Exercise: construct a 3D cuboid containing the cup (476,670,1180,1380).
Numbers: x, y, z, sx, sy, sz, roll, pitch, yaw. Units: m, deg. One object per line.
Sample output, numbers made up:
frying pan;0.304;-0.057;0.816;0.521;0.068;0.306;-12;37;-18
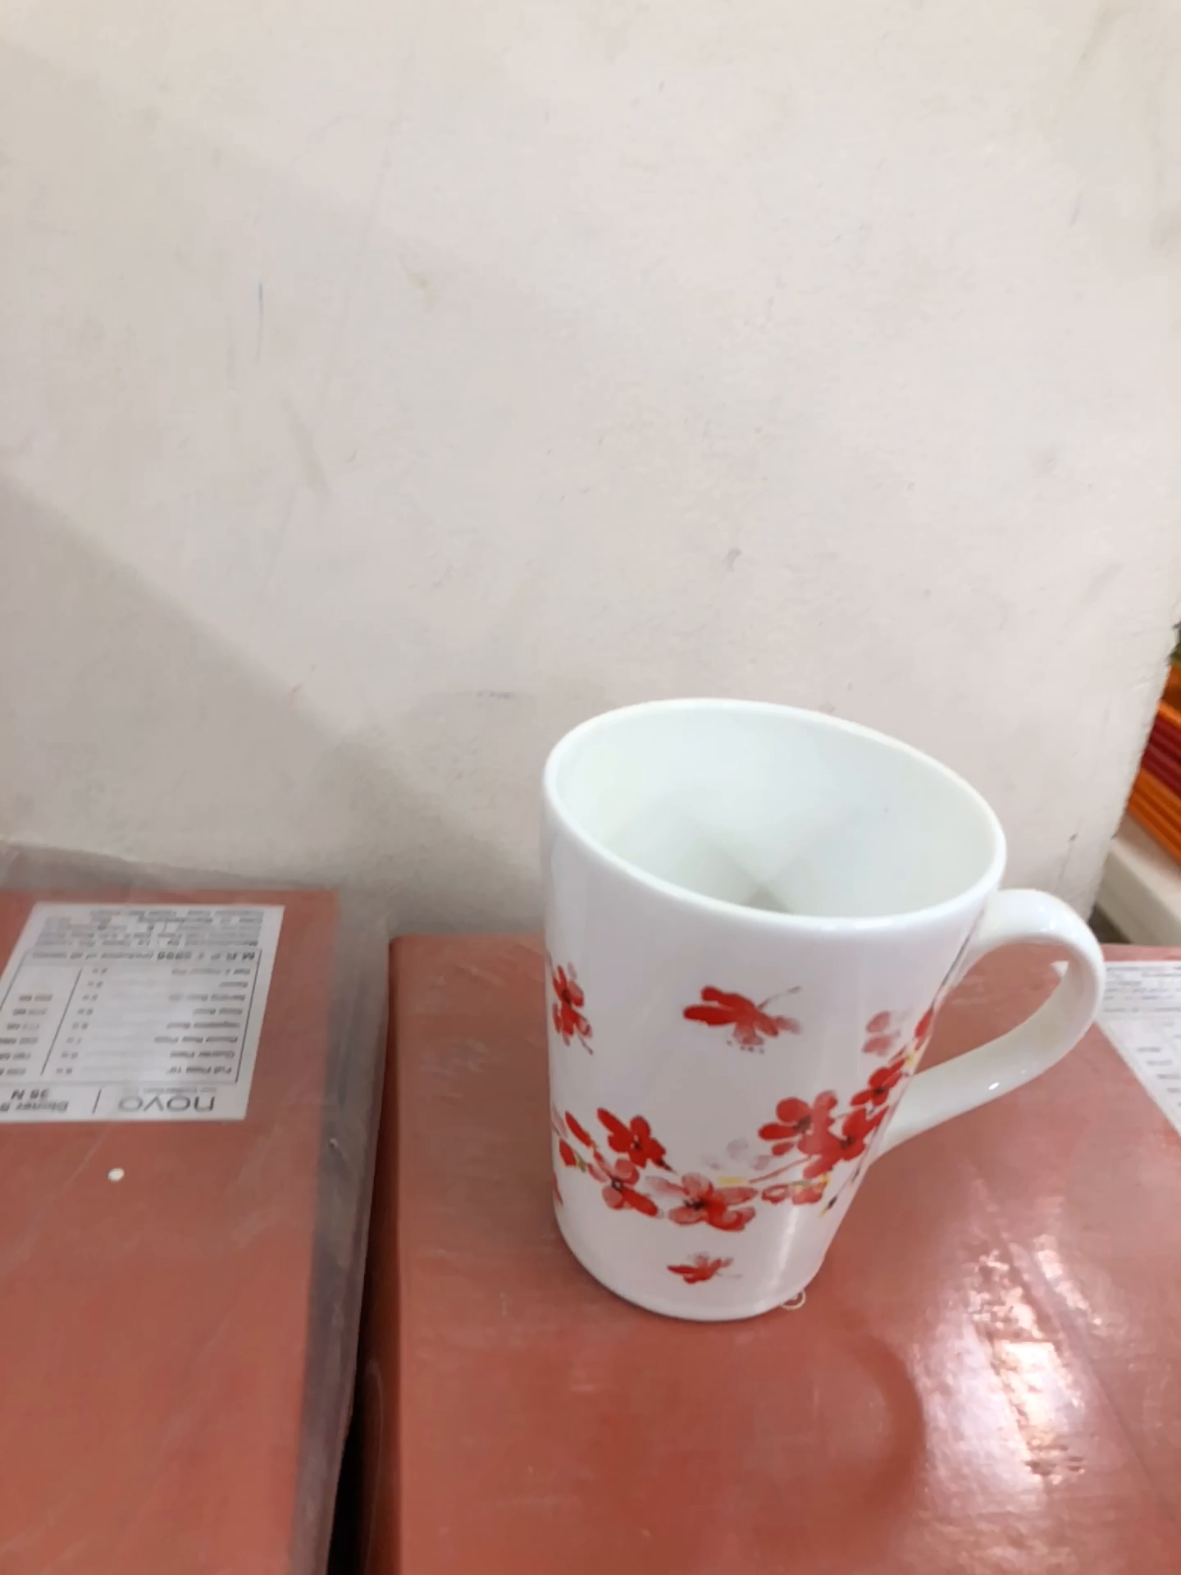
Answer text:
cup;0.041;0.040;0.253;0.110;0.099;0.080;0;28;-14
